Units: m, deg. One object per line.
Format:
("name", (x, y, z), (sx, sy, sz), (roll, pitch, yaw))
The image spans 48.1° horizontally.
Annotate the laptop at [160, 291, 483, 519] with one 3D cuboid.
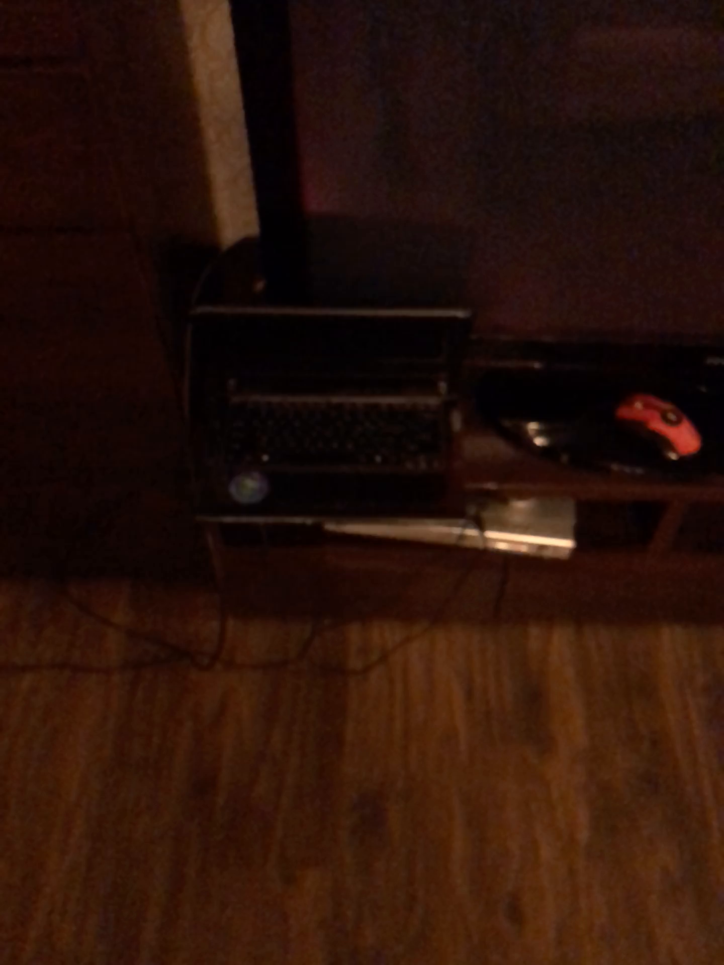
("laptop", (-0.041, -0.091, 0.978), (0.336, 0.183, 0.200), (0, 52, 0))
